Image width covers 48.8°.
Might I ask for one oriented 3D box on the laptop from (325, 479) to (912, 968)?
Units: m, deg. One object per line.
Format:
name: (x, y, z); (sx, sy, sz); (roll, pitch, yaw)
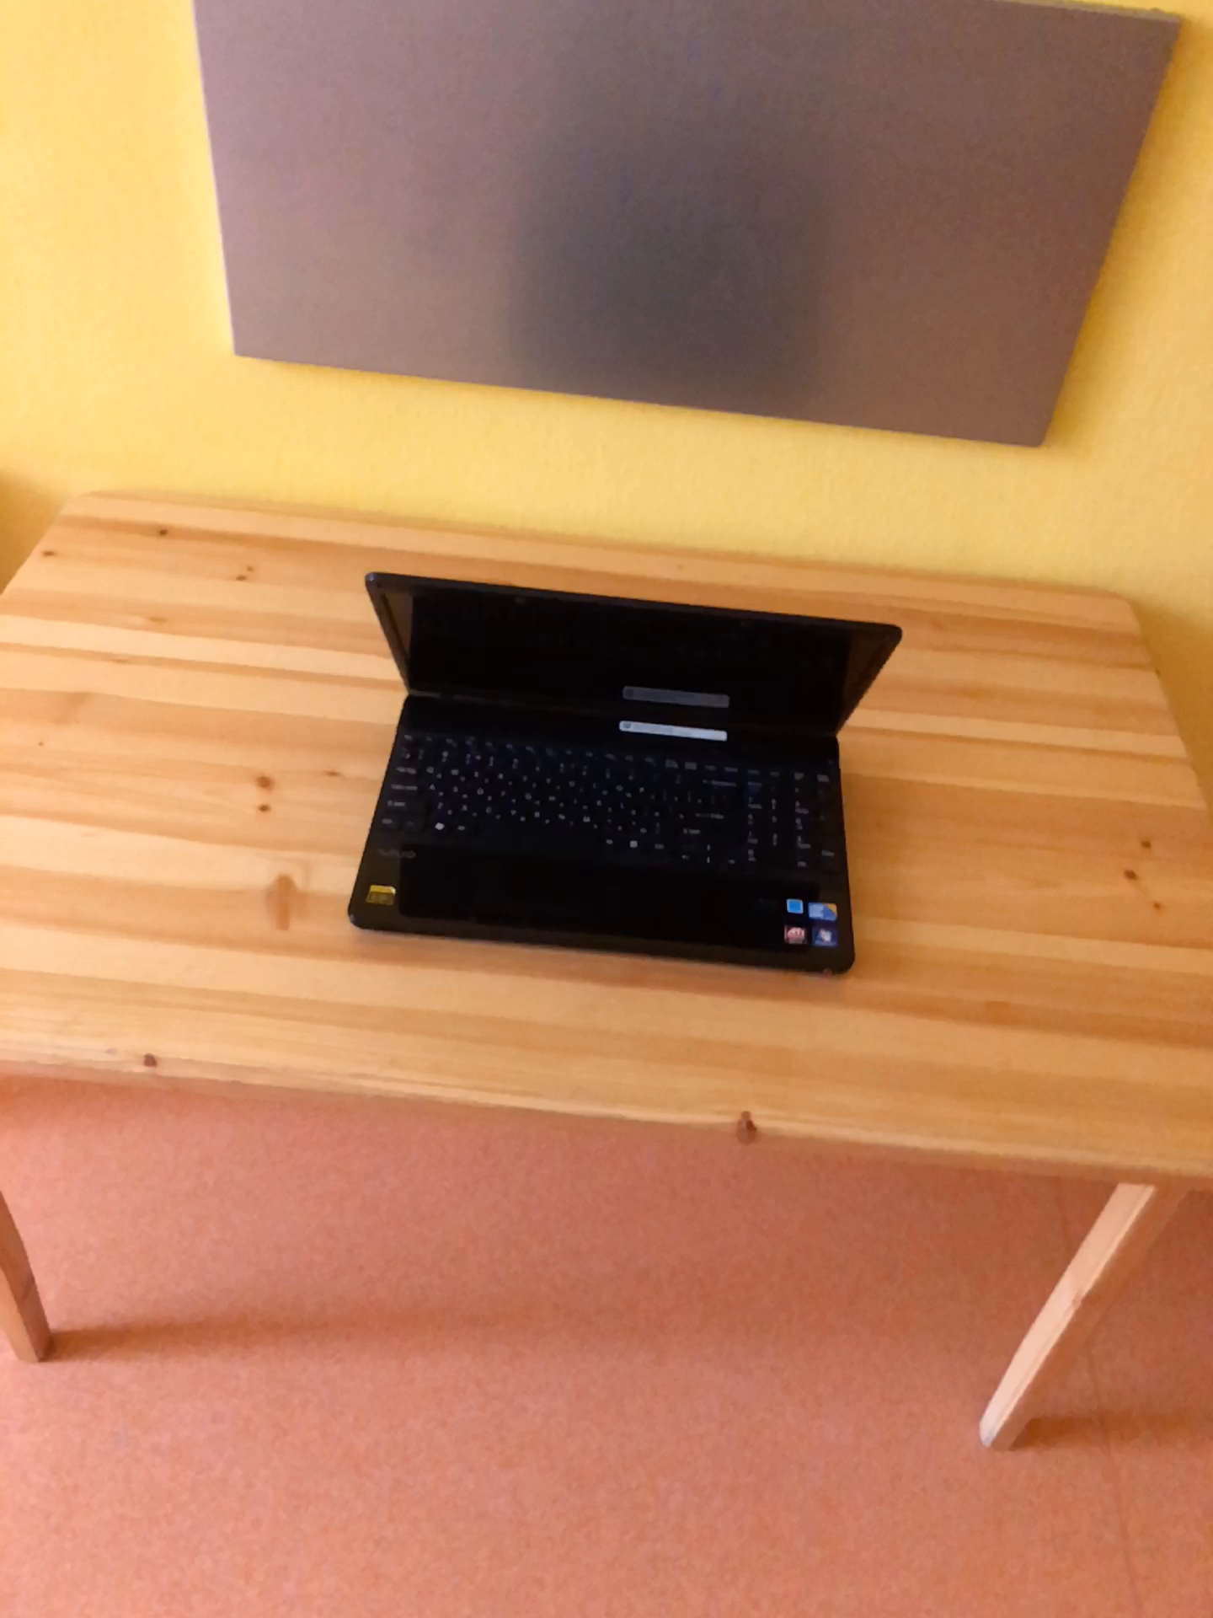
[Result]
laptop: (0.010, -0.066, 0.973); (0.361, 0.200, 0.249); (6, 44, 0)
